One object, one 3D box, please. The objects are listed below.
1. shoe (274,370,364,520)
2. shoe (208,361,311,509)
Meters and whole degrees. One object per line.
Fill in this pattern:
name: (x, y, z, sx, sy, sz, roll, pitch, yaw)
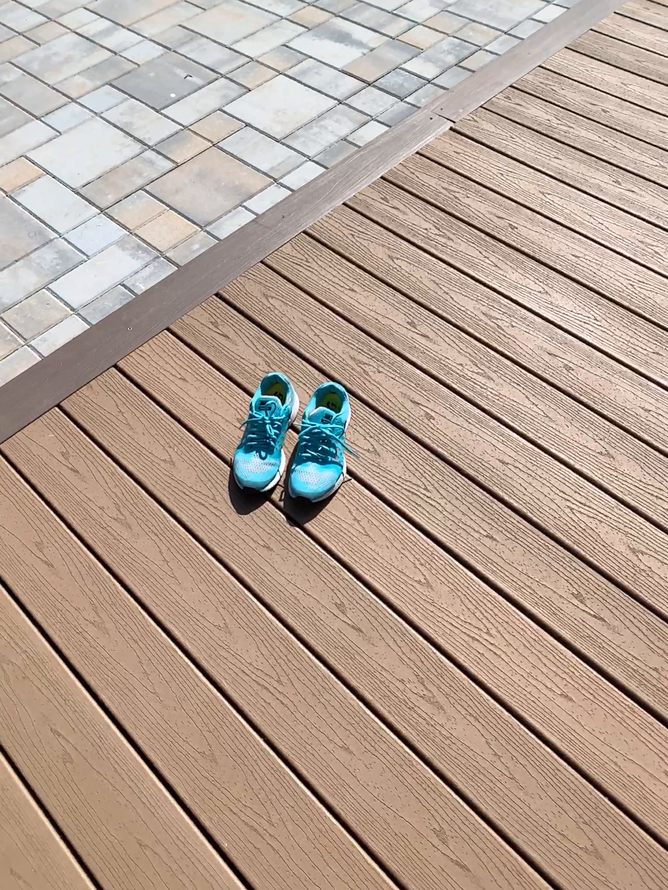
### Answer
shoe: (-0.021, -0.005, 1.236, 0.110, 0.080, 0.261, 8, 57, 8)
shoe: (-0.131, -0.023, 1.261, 0.110, 0.080, 0.261, 10, 57, 9)
